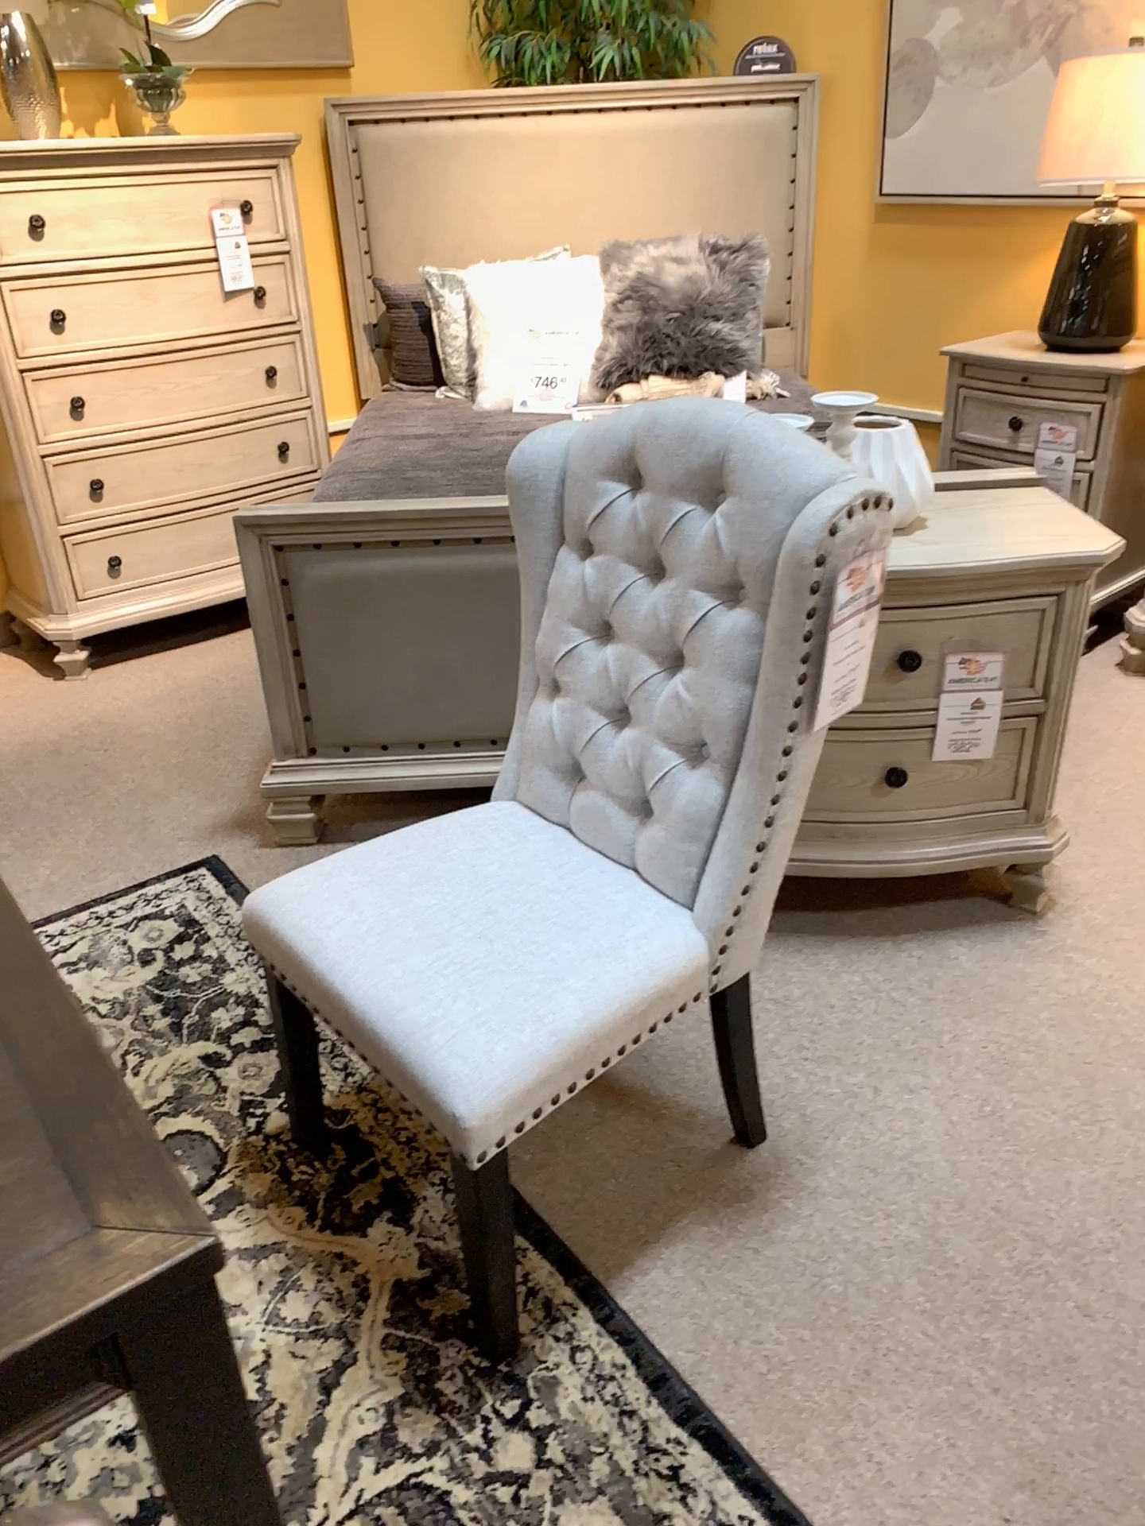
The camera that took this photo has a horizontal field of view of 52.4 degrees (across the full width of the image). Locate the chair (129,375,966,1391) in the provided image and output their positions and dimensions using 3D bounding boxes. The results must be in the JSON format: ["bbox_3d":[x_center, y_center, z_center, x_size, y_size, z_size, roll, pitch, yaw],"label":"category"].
[{"bbox_3d":[-0.008,0.081,1.541,0.742,0.973,0.589,-23,34,-33],"label":"chair"}]
